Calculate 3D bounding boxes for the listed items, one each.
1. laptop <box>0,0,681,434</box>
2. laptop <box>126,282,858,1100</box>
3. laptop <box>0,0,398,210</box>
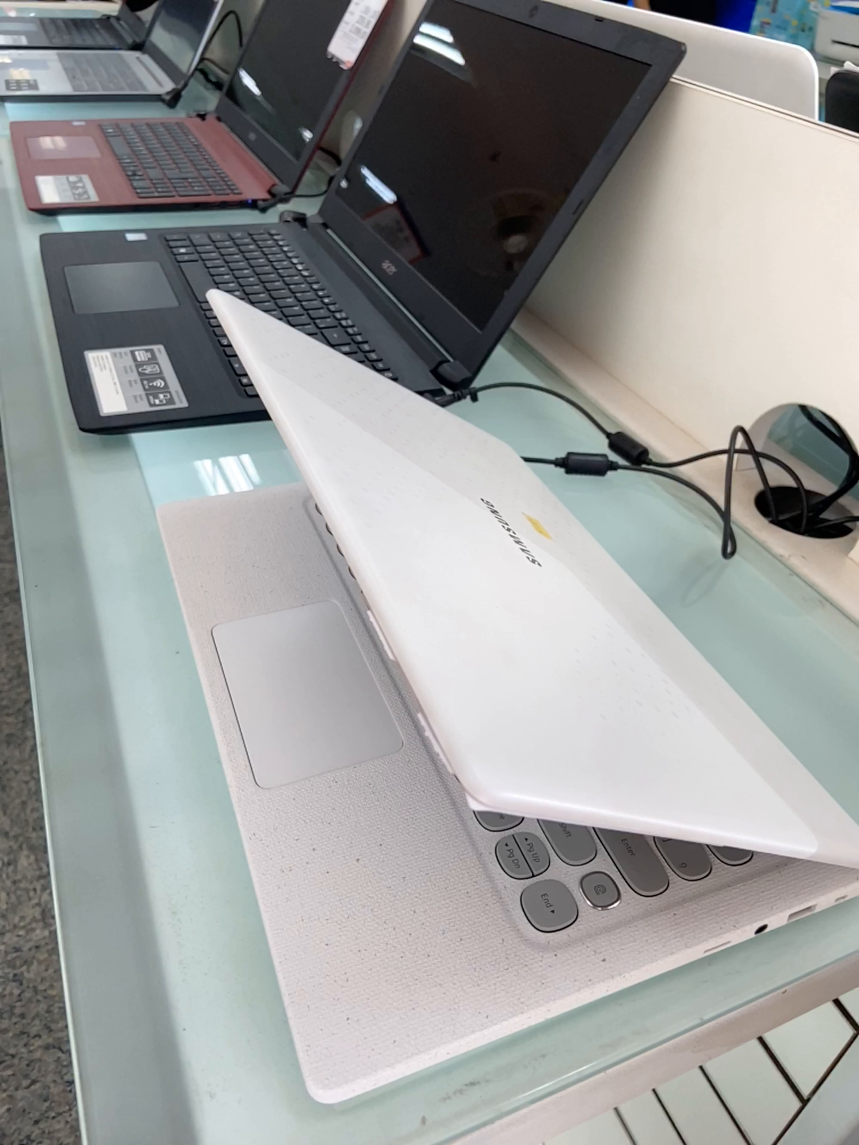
[{"bbox_3d":[-0.104,-0.316,0.675,0.374,0.213,0.402,-10,39,-19],"label":"laptop"},{"bbox_3d":[0.008,-0.005,0.363,0.206,0.107,0.313,-11,39,-19],"label":"laptop"},{"bbox_3d":[-0.269,-0.562,0.960,0.367,0.198,0.310,-14,43,-21],"label":"laptop"}]
